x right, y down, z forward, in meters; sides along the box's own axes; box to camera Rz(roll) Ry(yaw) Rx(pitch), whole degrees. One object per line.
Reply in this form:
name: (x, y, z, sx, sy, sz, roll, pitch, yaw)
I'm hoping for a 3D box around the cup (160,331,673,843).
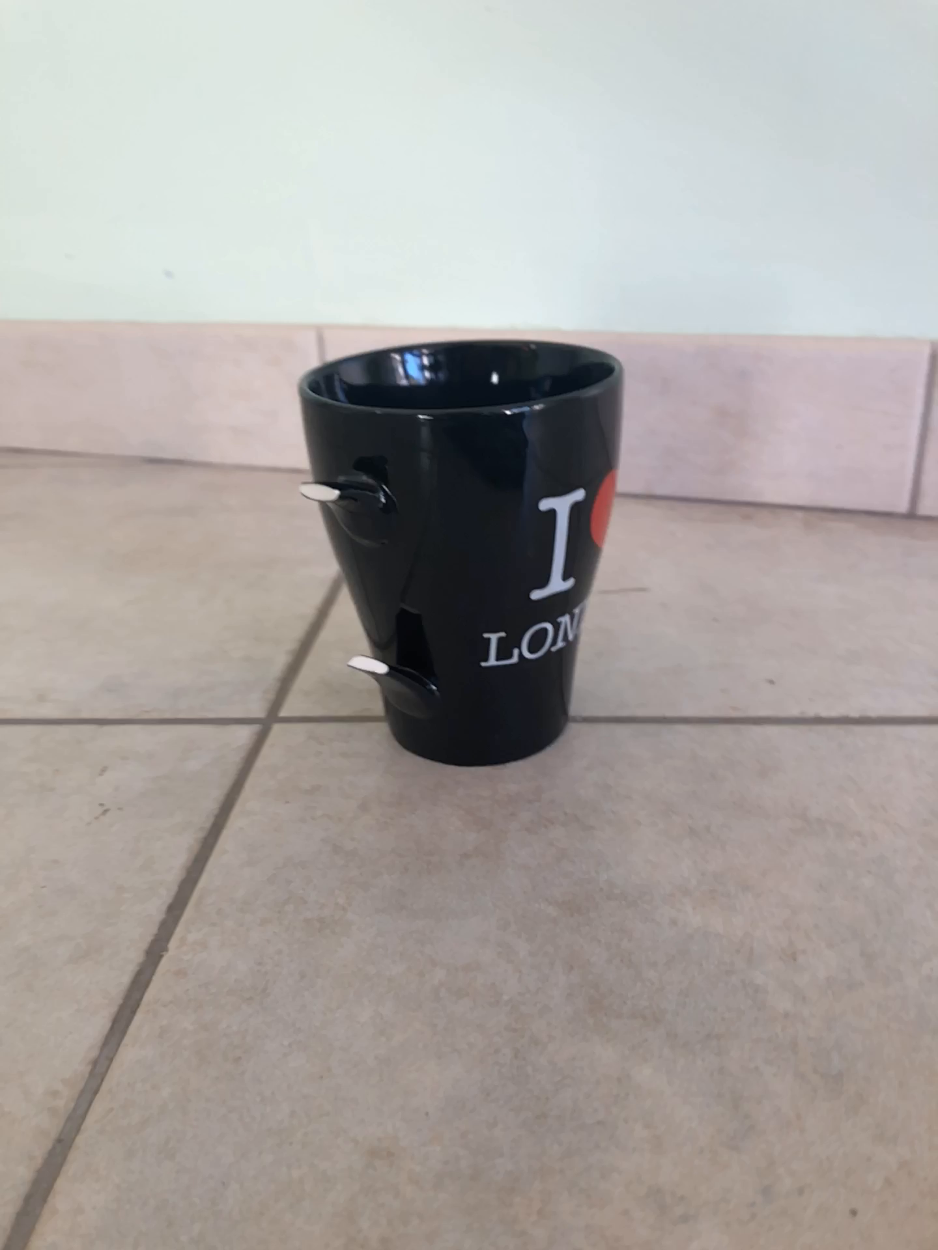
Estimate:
cup: (-0.007, -0.022, 0.305, 0.097, 0.103, 0.108, 11, 29, 27)
